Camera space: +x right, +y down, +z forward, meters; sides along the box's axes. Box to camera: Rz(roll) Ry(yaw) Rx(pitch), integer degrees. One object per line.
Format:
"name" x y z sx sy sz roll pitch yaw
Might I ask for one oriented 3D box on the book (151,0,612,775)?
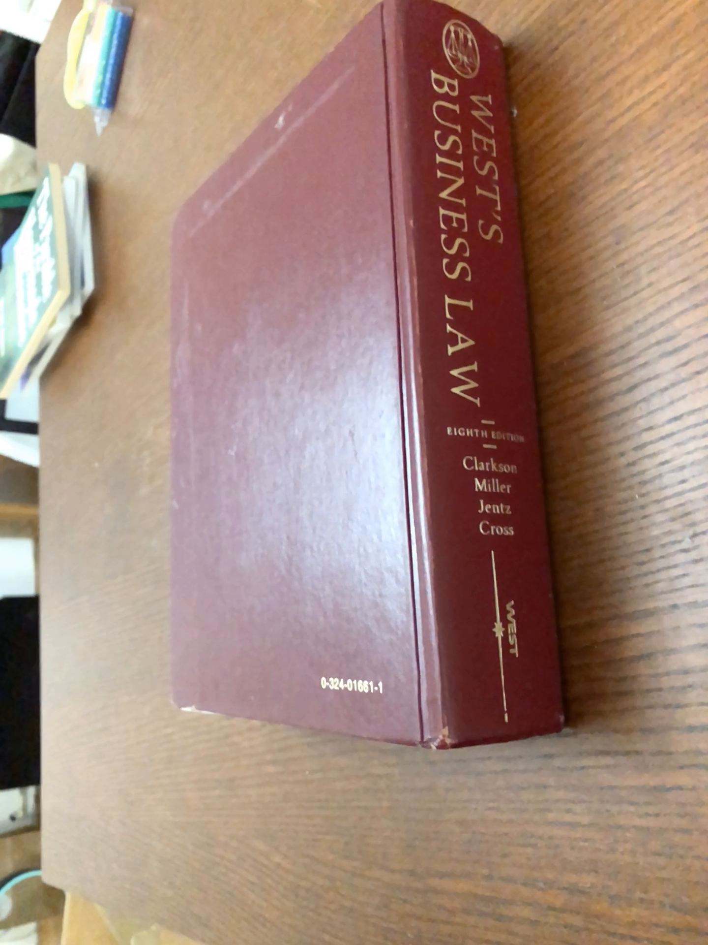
"book" -0.012 -0.036 0.355 0.221 0.070 0.290 -16 72 52
